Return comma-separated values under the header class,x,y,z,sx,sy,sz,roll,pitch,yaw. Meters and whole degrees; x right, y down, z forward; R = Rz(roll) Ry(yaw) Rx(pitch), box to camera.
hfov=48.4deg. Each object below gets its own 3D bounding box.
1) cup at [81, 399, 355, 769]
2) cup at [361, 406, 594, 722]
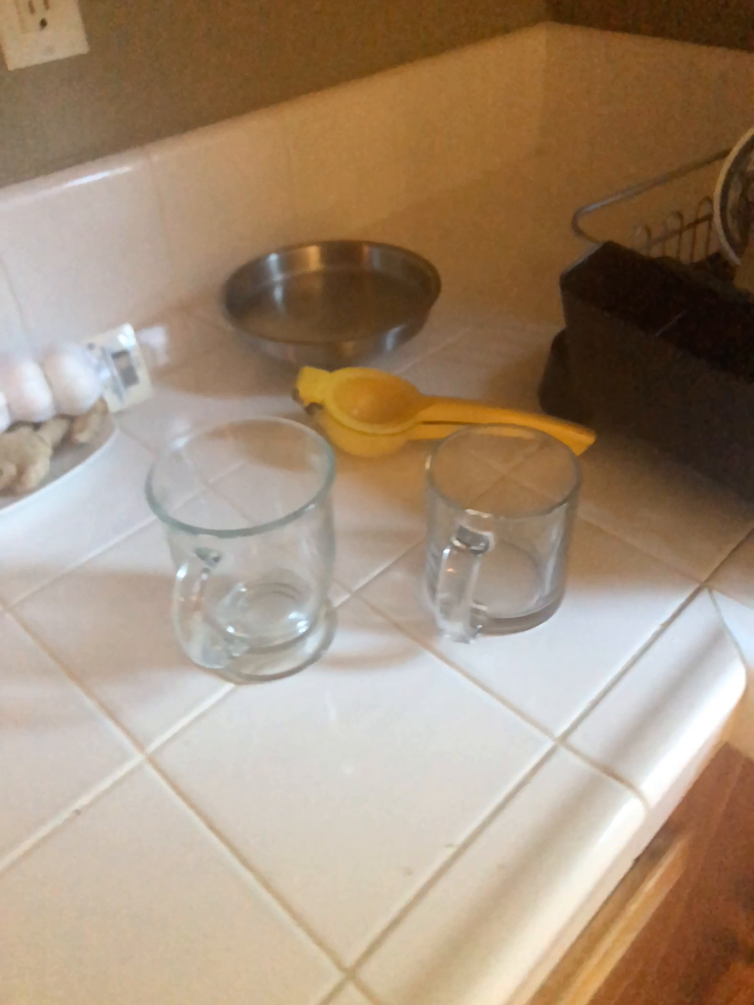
class,x,y,z,sx,sy,sz,roll,pitch,yaw
cup,-0.071,0.042,0.449,0.090,0.139,0.131,3,41,7
cup,0.059,0.031,0.479,0.090,0.109,0.121,14,44,18
